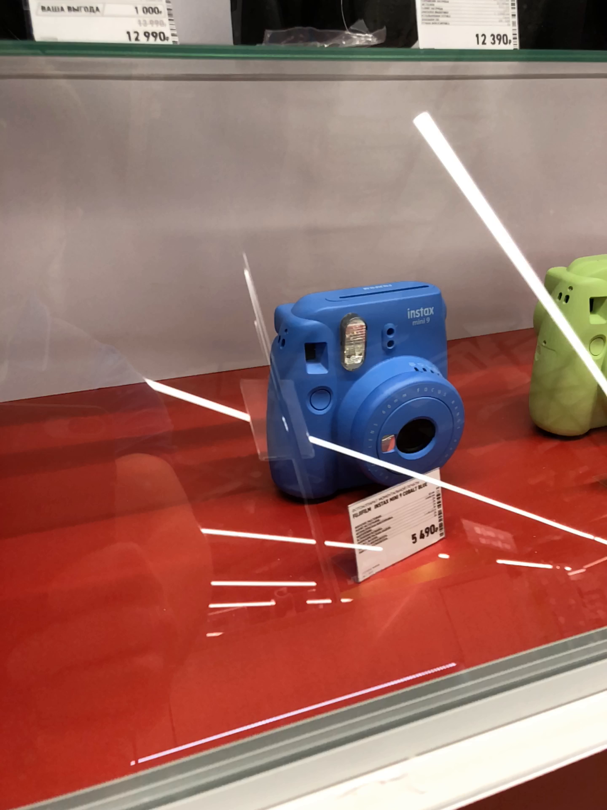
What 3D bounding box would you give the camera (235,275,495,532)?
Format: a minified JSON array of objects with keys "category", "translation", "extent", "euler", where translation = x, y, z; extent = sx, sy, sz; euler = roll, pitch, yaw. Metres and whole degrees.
[{"category":"camera","translation":[0.032,-0.007,0.386],"extent":[0.123,0.109,0.070],"euler":[-11,27,-23]}]
